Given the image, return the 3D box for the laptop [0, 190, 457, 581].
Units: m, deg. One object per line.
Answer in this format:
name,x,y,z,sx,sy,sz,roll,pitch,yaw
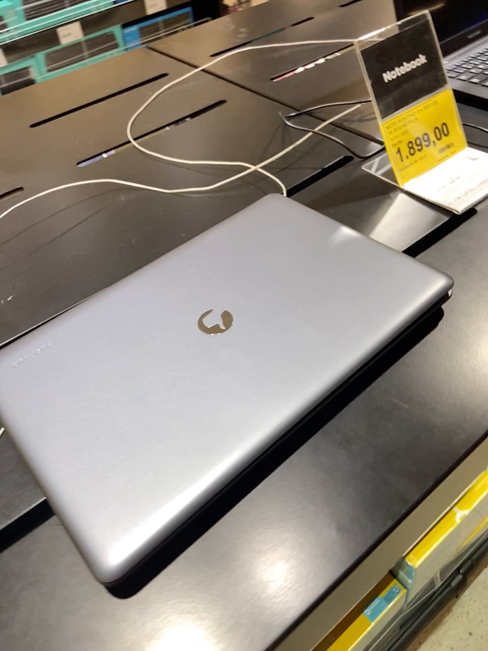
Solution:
laptop,-0.020,-0.001,0.402,0.330,0.001,0.213,-35,51,-23
